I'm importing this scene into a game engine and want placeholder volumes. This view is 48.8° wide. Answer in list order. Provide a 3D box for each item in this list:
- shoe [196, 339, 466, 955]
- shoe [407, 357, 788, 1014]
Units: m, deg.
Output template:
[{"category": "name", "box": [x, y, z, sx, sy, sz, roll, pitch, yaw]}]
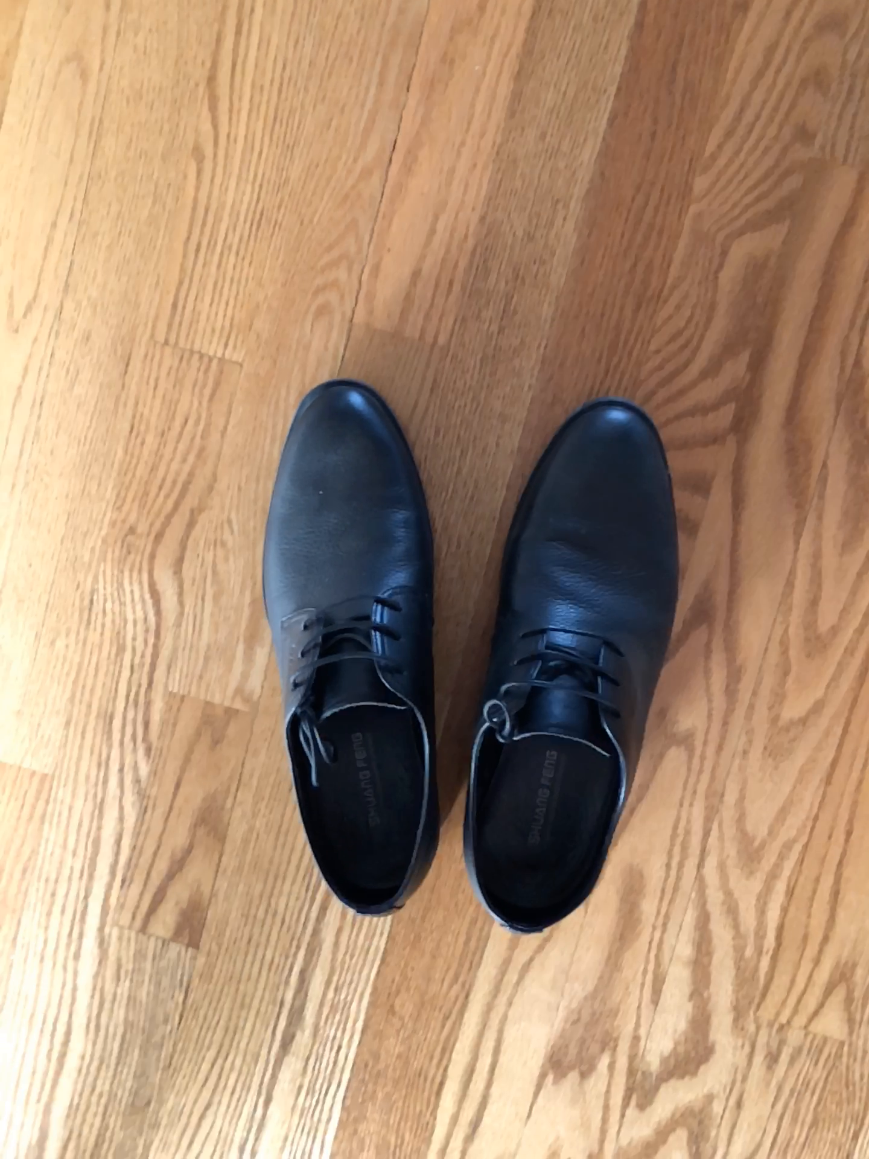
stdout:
[{"category": "shoe", "box": [-0.048, 0.034, 0.538, 0.110, 0.124, 0.304, -3, 94, 4]}, {"category": "shoe", "box": [0.078, 0.050, 0.519, 0.110, 0.124, 0.299, 14, 95, 3]}]
